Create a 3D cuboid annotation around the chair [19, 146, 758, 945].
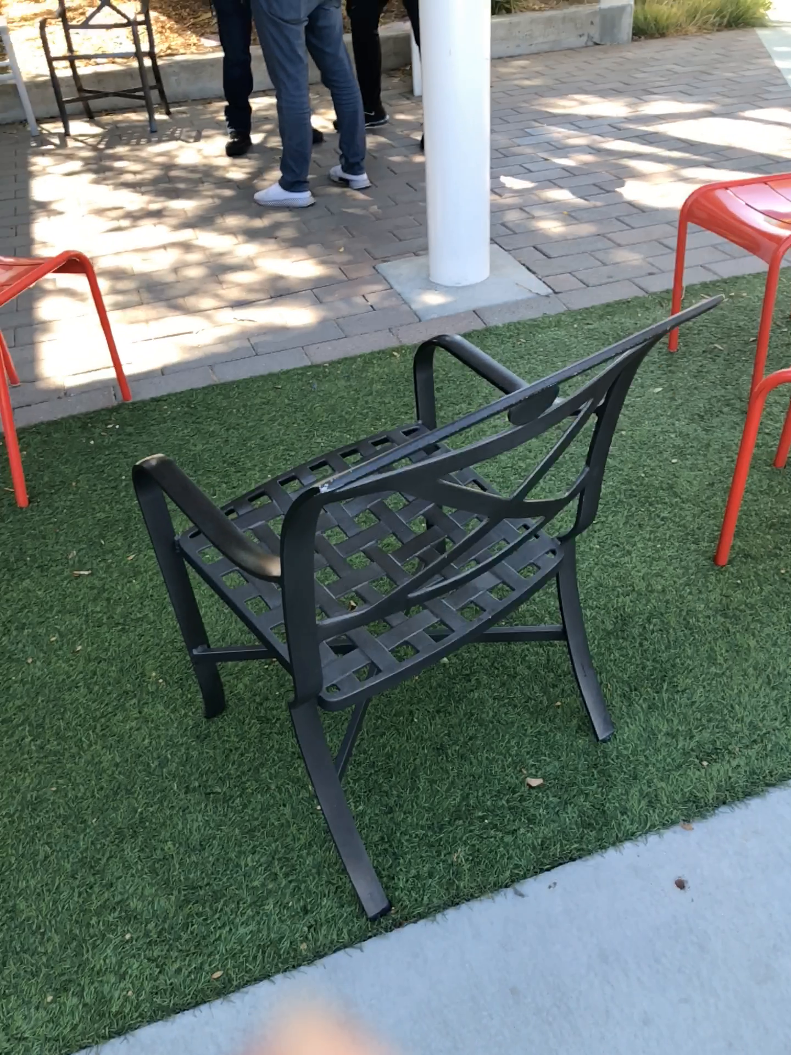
[{"bbox_3d":[-0.018,-0.017,1.313,0.641,0.806,0.643,-27,45,-28],"label":"chair"}]
